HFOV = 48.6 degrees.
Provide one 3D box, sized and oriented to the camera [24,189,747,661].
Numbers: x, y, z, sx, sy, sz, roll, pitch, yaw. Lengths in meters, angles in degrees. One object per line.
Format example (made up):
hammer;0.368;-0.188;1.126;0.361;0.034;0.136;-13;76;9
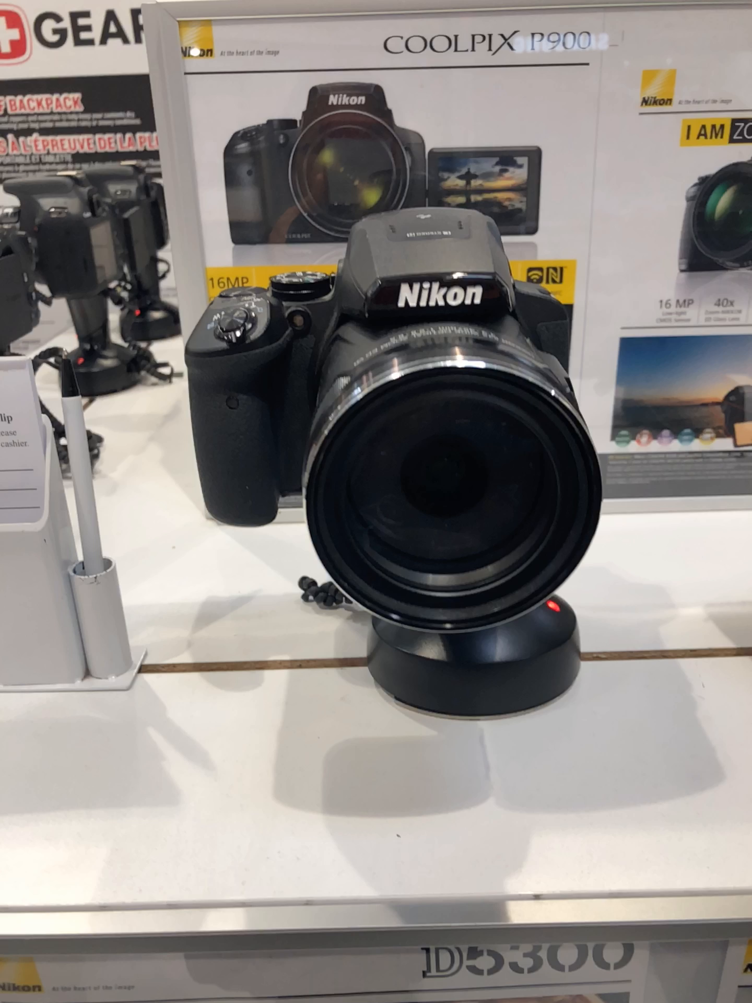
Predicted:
camera;0.004;-0.036;0.257;0.150;0.099;0.141;-1;24;1
